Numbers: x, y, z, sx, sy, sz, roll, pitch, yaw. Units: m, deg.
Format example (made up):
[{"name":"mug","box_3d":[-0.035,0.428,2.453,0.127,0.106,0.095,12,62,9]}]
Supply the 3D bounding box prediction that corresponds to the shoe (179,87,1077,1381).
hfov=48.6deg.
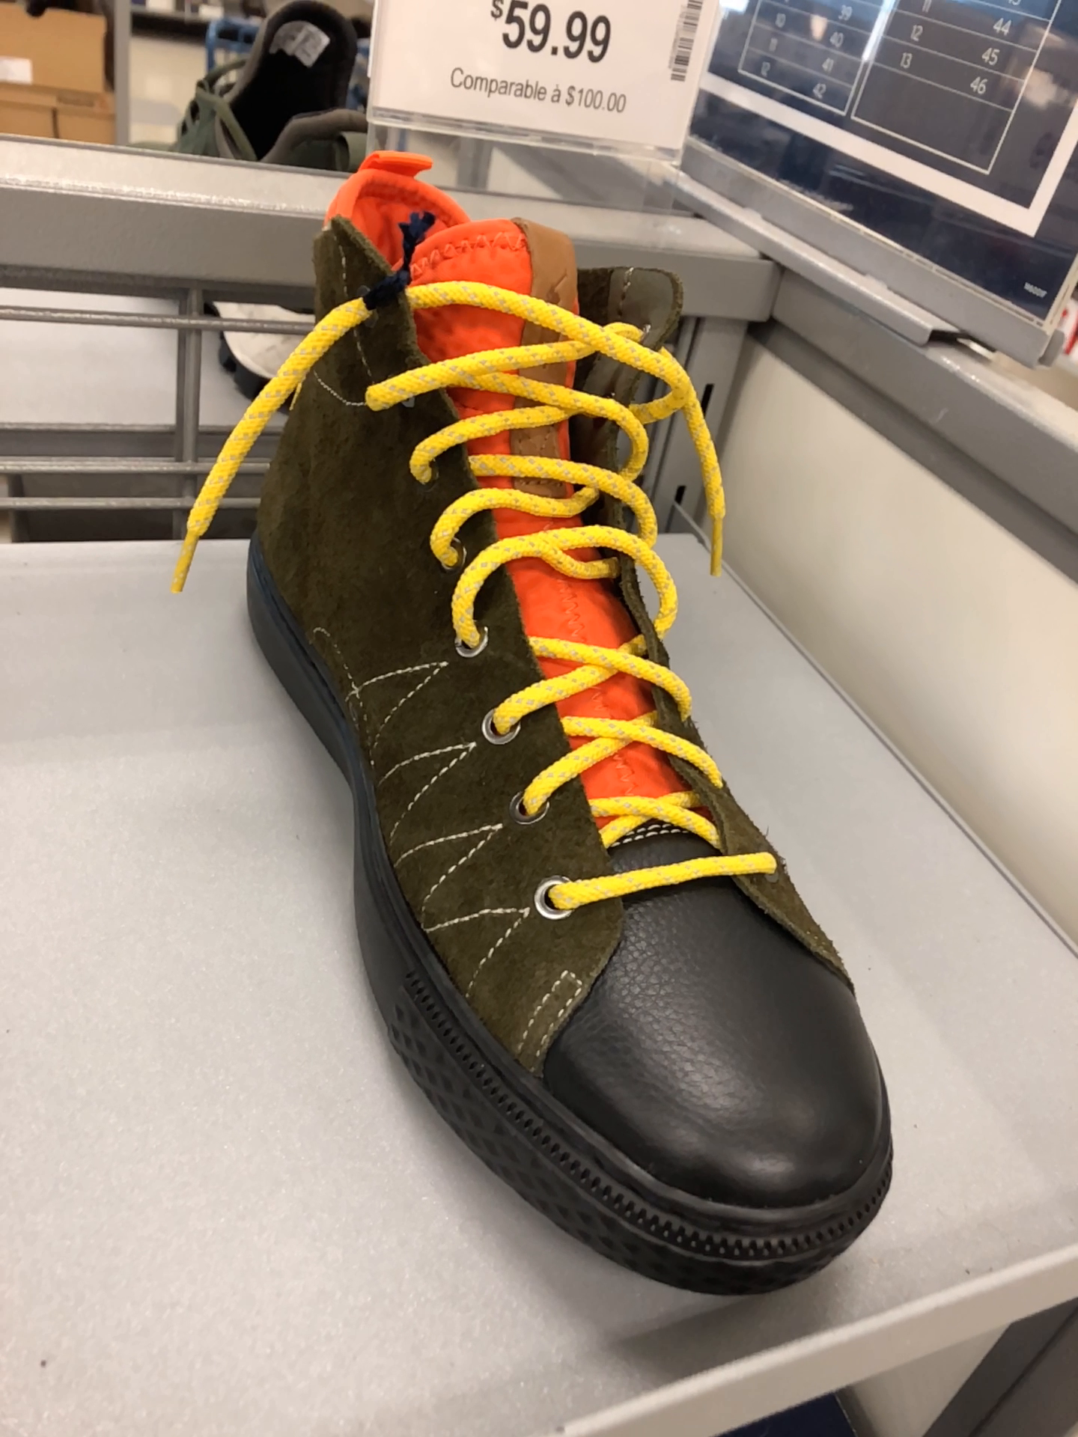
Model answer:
[{"name":"shoe","box_3d":[0.002,-0.034,0.318,0.125,0.171,0.299,-7,39,-27]}]
